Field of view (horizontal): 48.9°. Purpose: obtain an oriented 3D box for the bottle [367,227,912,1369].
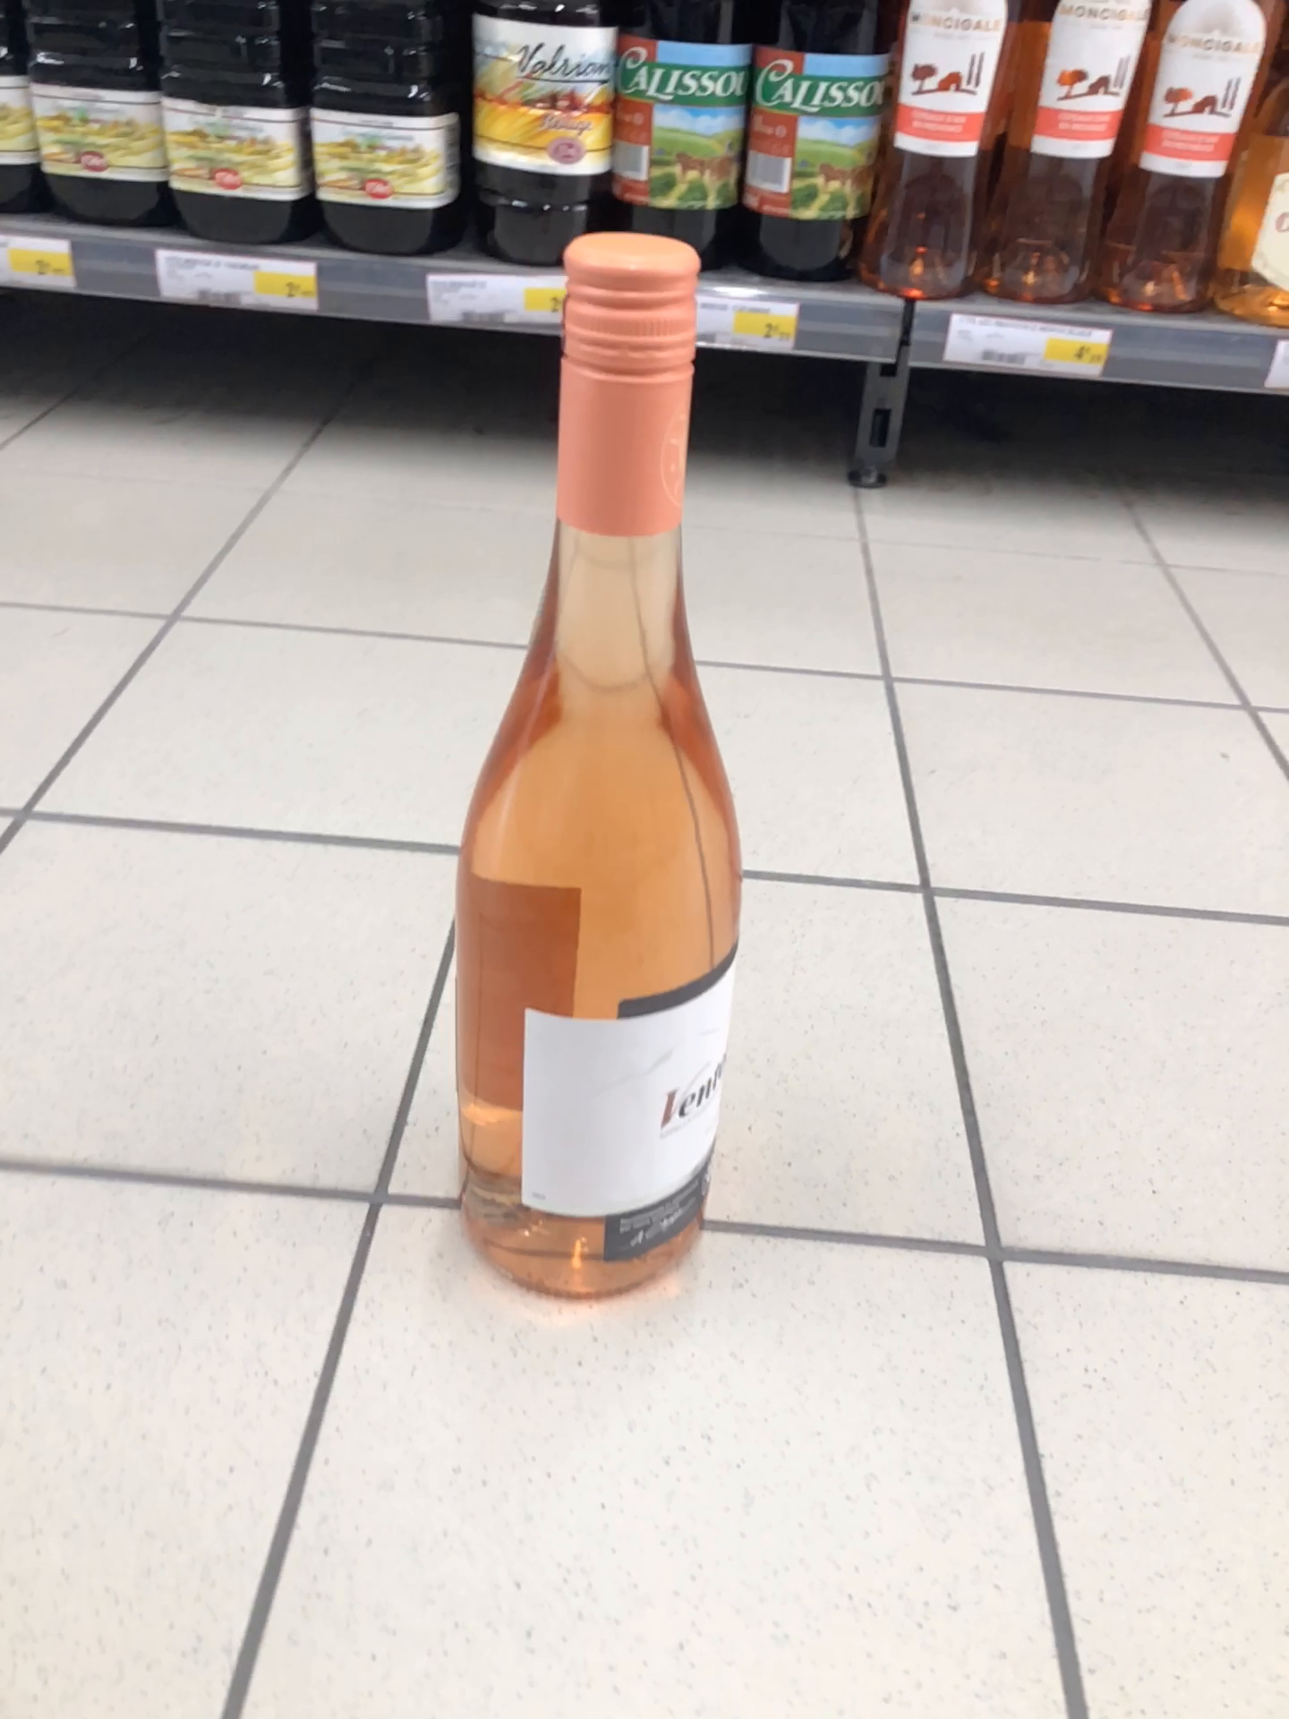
[{"bbox_3d":[-0.007,-0.005,0.374,0.080,0.278,0.091,21,37,23],"label":"bottle"}]
